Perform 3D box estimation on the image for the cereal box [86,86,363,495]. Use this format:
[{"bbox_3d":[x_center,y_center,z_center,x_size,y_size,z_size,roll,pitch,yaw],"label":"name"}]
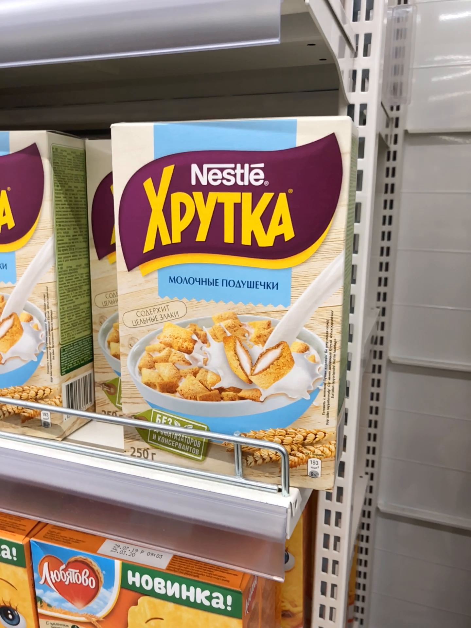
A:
[{"bbox_3d":[-0.007,-0.014,0.322,0.150,0.219,0.050,4,13,16],"label":"cereal box"}]
